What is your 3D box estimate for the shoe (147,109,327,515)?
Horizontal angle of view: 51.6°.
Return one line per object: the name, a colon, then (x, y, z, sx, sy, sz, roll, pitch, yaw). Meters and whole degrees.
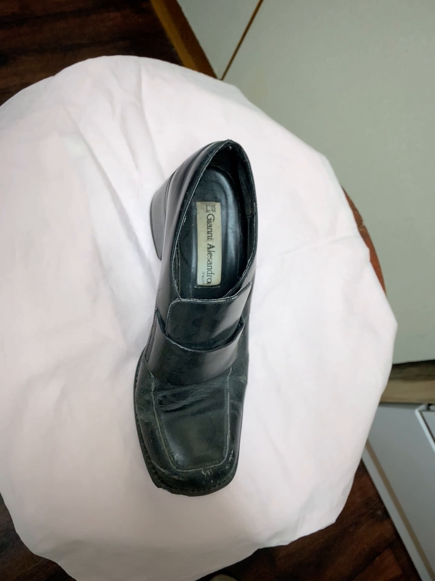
shoe: (0.003, 0.012, 0.319, 0.090, 0.092, 0.240, 2, 76, -18)
